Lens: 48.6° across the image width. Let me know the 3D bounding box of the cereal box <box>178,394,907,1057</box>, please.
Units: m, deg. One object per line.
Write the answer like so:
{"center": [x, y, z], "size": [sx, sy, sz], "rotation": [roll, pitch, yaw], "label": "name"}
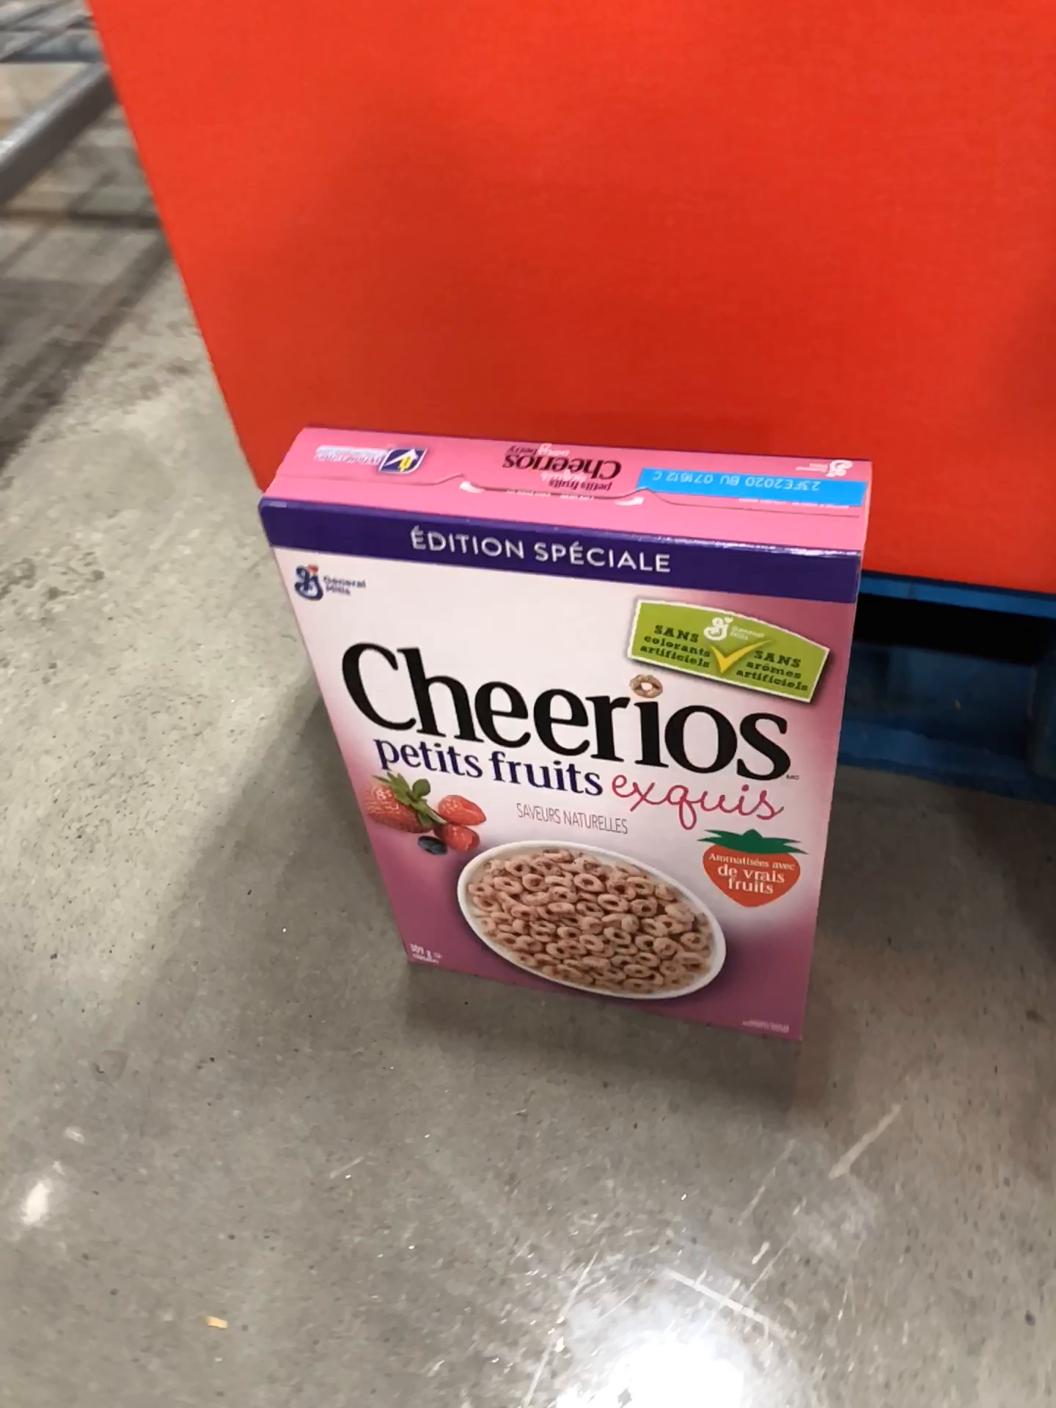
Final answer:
{"center": [0.016, 0.023, 0.465], "size": [0.220, 0.279, 0.060], "rotation": [8, 48, 16], "label": "cereal box"}
